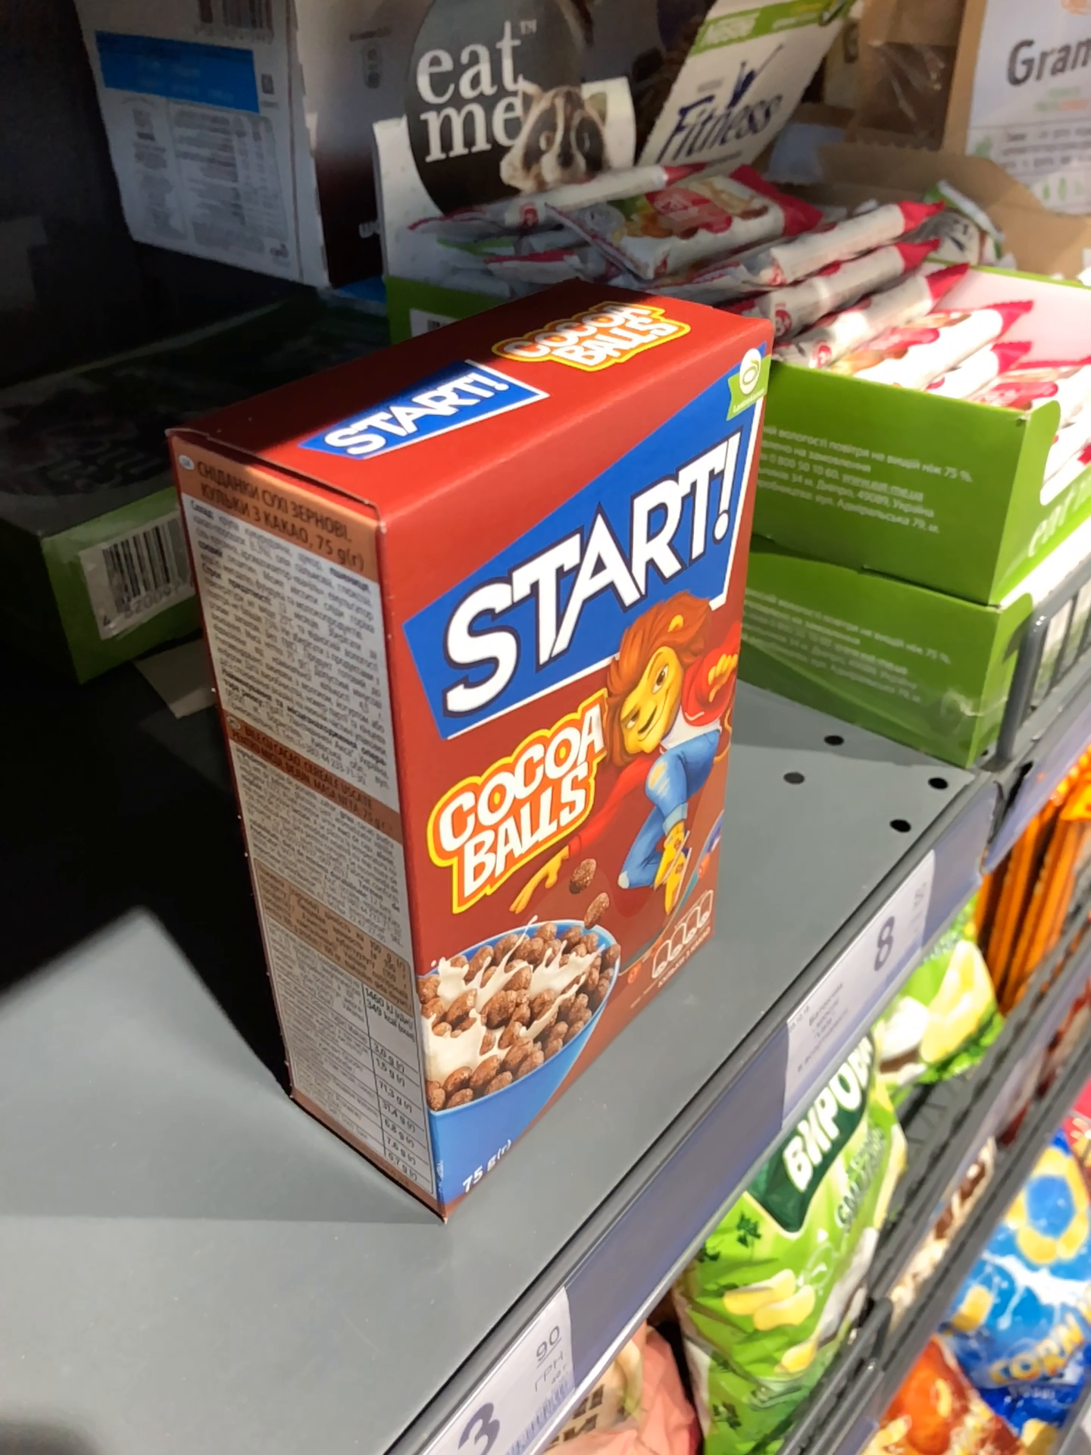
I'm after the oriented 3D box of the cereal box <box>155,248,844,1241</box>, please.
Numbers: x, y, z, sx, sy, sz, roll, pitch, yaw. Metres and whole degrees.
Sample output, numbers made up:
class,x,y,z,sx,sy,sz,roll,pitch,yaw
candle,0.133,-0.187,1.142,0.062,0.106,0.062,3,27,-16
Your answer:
class,x,y,z,sx,sy,sz,roll,pitch,yaw
cereal box,-0.003,0.004,0.257,0.060,0.169,0.111,26,43,30
